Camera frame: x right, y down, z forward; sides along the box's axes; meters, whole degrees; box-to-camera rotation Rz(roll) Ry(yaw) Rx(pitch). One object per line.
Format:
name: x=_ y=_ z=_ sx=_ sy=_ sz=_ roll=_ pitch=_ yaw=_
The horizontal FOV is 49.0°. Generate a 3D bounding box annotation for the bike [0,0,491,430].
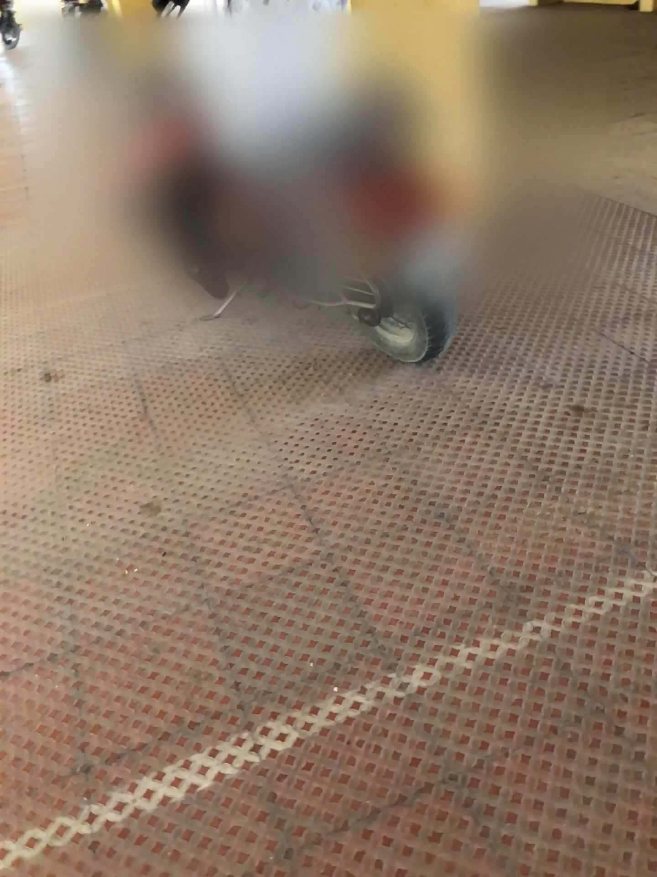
bike: x=-0.453 y=-0.985 z=2.244 sx=0.760 sy=1.048 sz=1.650 roll=-33 pitch=48 yaw=-32
